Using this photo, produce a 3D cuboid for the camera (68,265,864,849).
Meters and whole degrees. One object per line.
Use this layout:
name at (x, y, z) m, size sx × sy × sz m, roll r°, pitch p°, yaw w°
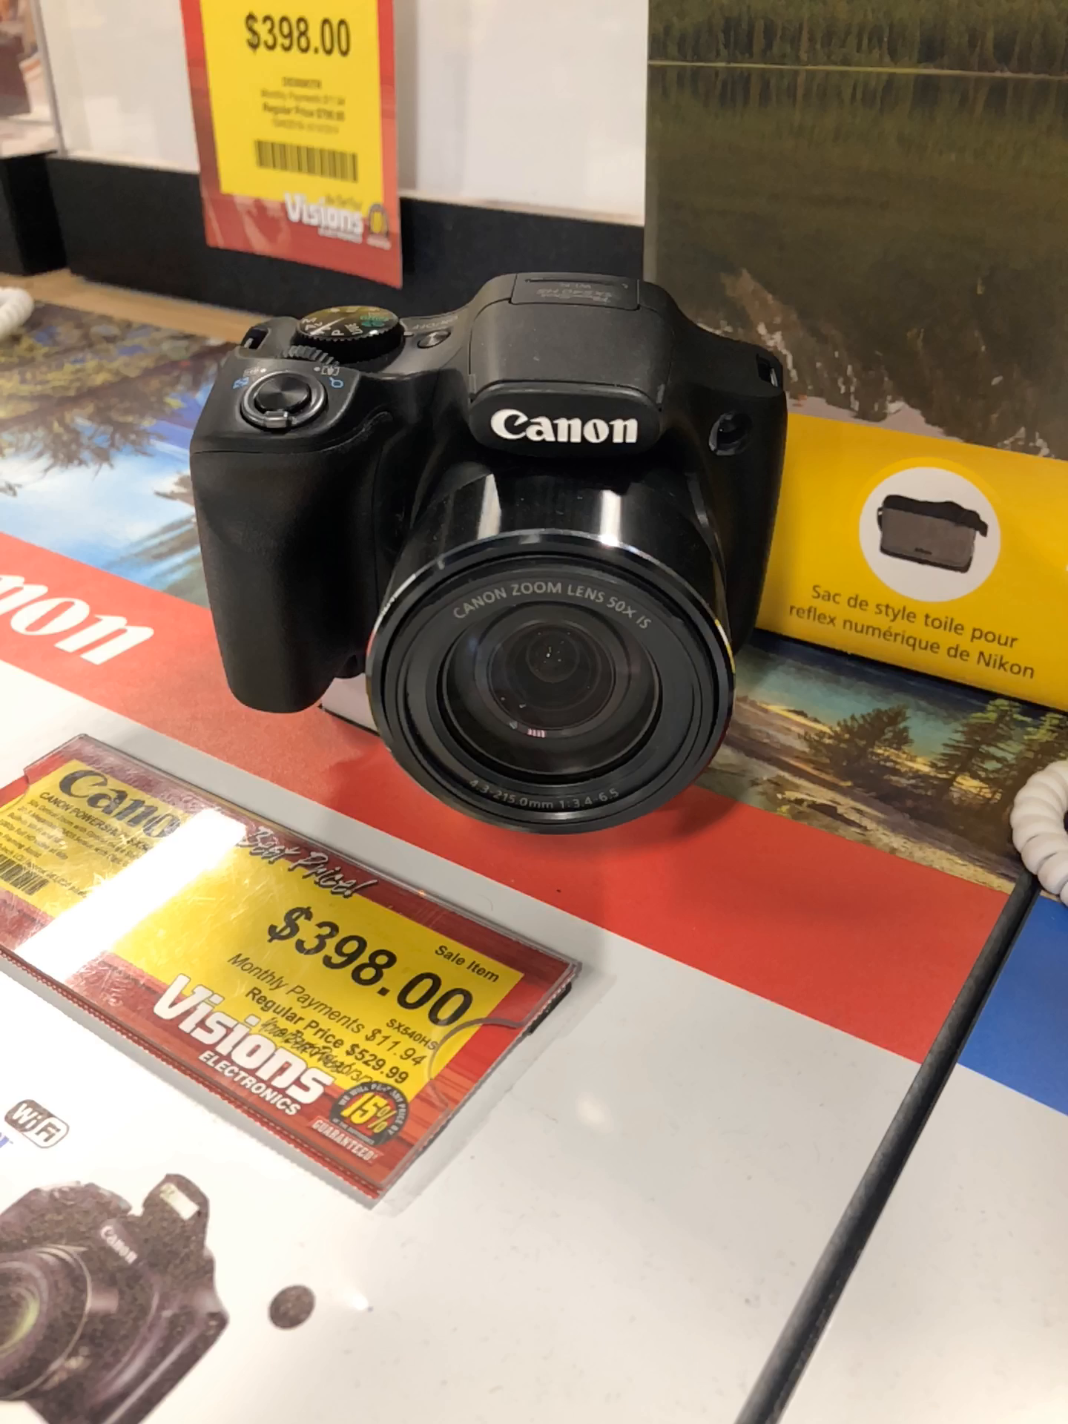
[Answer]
camera at (-0.006, -0.037, 0.235) m, size 0.120 × 0.079 × 0.091 m, roll 3°, pitch 33°, yaw 7°
